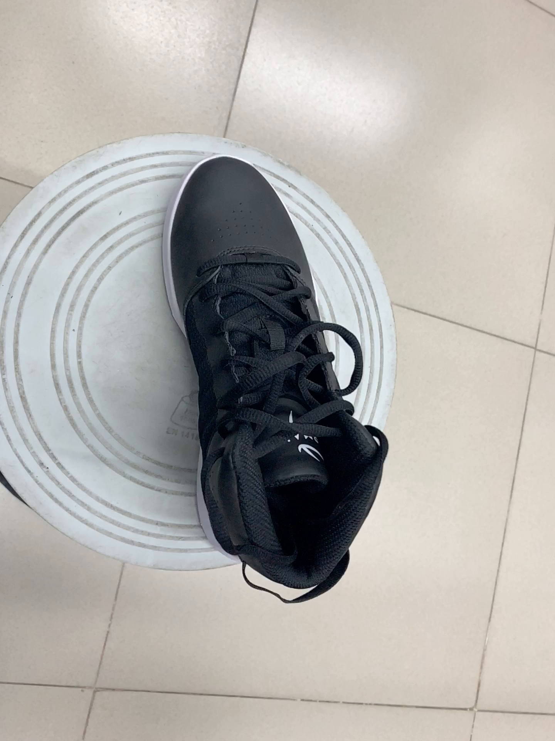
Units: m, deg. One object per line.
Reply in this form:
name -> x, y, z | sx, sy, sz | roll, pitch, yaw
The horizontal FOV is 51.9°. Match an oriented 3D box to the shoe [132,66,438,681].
shoe -> -0.005, -0.002, 0.283 | 0.090, 0.100, 0.240 | -8, 90, -19
